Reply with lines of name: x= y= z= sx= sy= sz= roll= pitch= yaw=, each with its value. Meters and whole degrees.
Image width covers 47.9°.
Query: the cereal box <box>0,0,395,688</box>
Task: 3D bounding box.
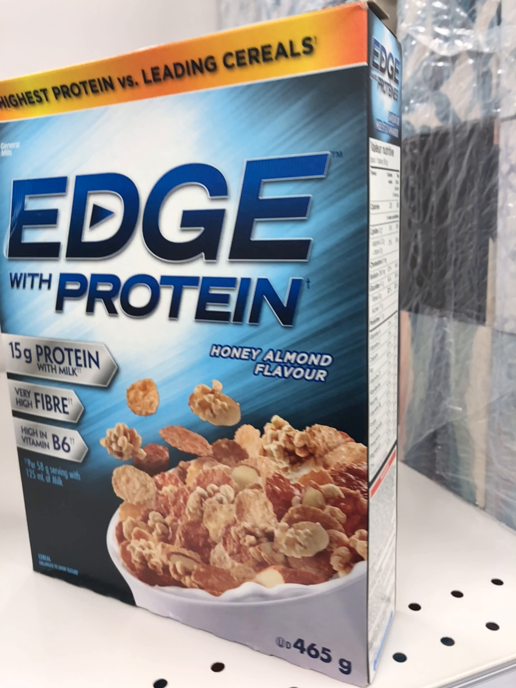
cereal box: x=-0.039 y=0.008 z=0.285 sx=0.200 sy=0.279 sz=0.050 roll=4 pitch=14 yaw=27
